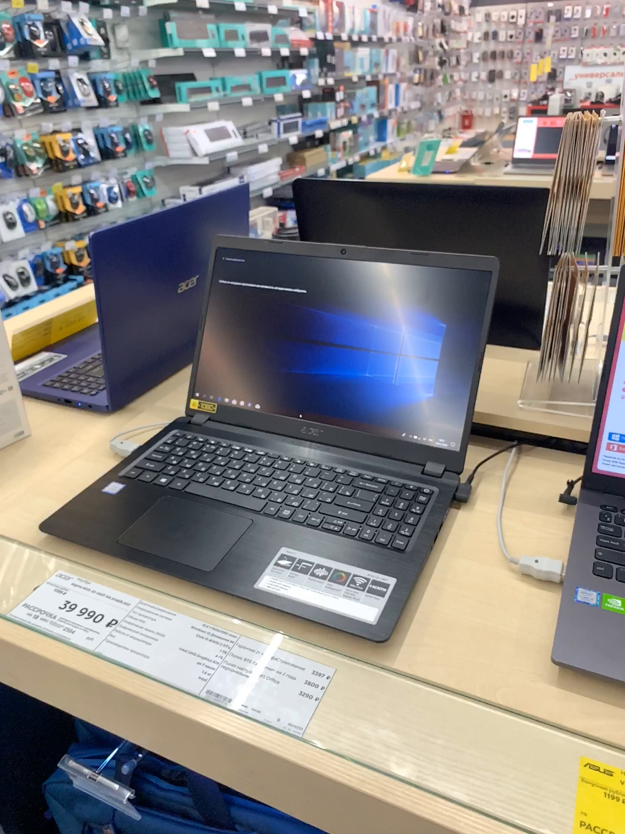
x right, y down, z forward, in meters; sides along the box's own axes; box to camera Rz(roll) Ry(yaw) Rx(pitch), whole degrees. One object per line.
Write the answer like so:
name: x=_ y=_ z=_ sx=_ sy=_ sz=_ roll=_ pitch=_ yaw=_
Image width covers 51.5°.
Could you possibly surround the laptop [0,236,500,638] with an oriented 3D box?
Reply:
laptop: x=-0.039 y=-0.030 z=0.689 sx=0.376 sy=0.216 sz=0.377 roll=10 pitch=30 yaw=22
